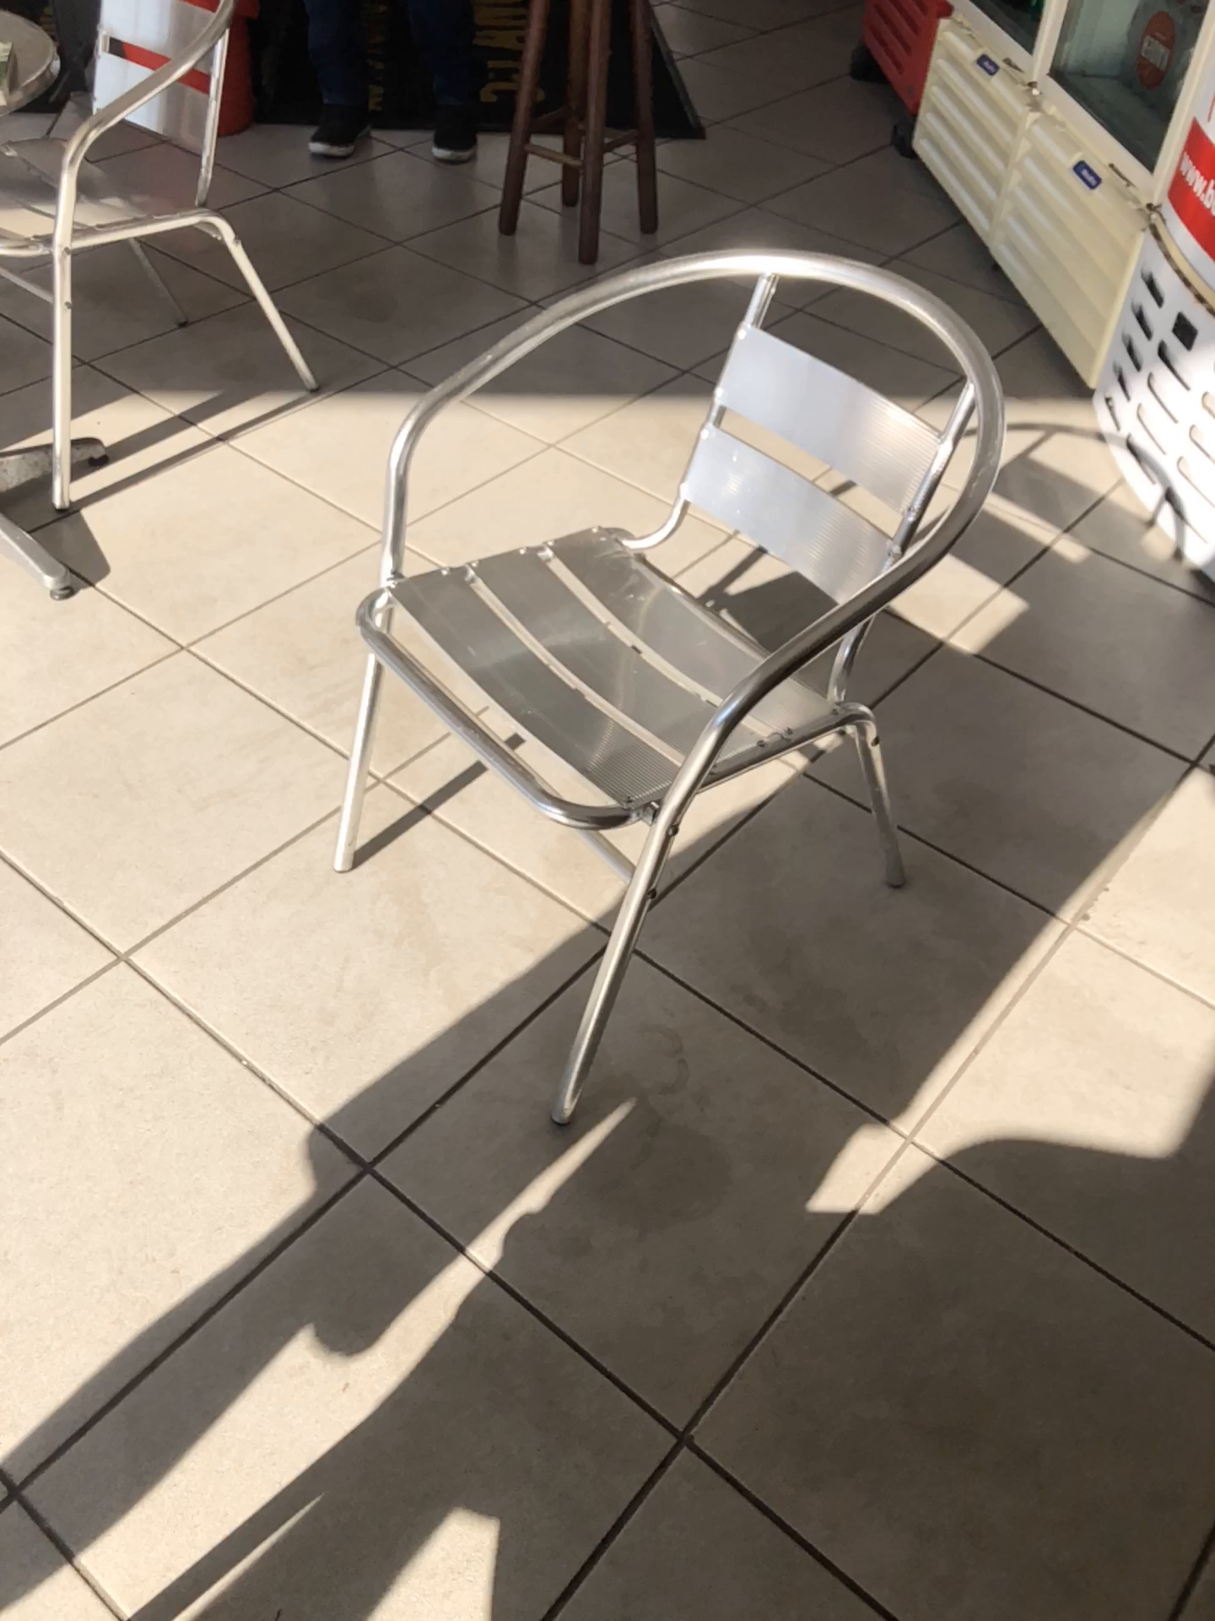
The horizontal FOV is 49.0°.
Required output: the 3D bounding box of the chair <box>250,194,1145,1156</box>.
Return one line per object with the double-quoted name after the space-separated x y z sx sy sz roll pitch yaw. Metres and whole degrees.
0.062 -0.166 1.453 0.632 0.705 0.522 -27 53 -30 "chair"
